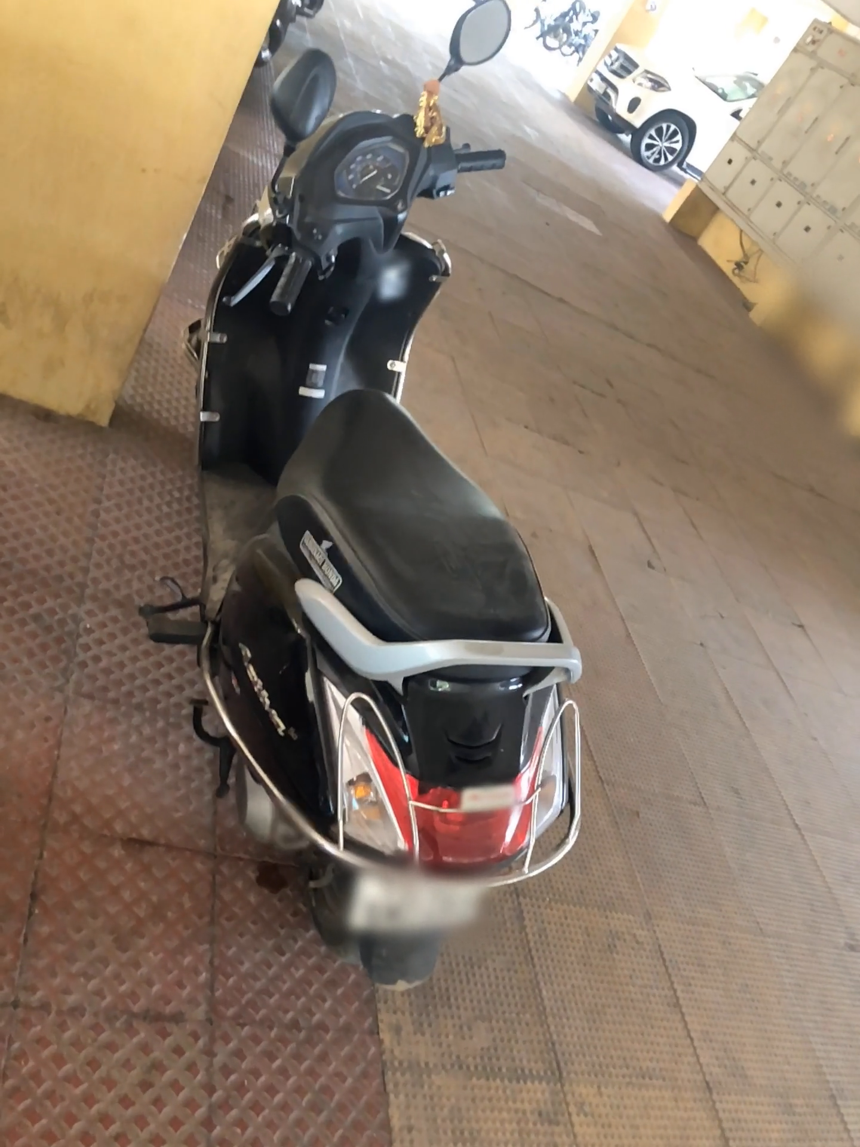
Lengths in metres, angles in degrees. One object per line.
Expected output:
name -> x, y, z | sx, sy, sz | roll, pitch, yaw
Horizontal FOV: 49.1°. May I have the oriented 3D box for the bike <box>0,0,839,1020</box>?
bike -> -0.273, -0.235, 1.703 | 0.609, 1.172, 1.444 | 8, 43, -37
